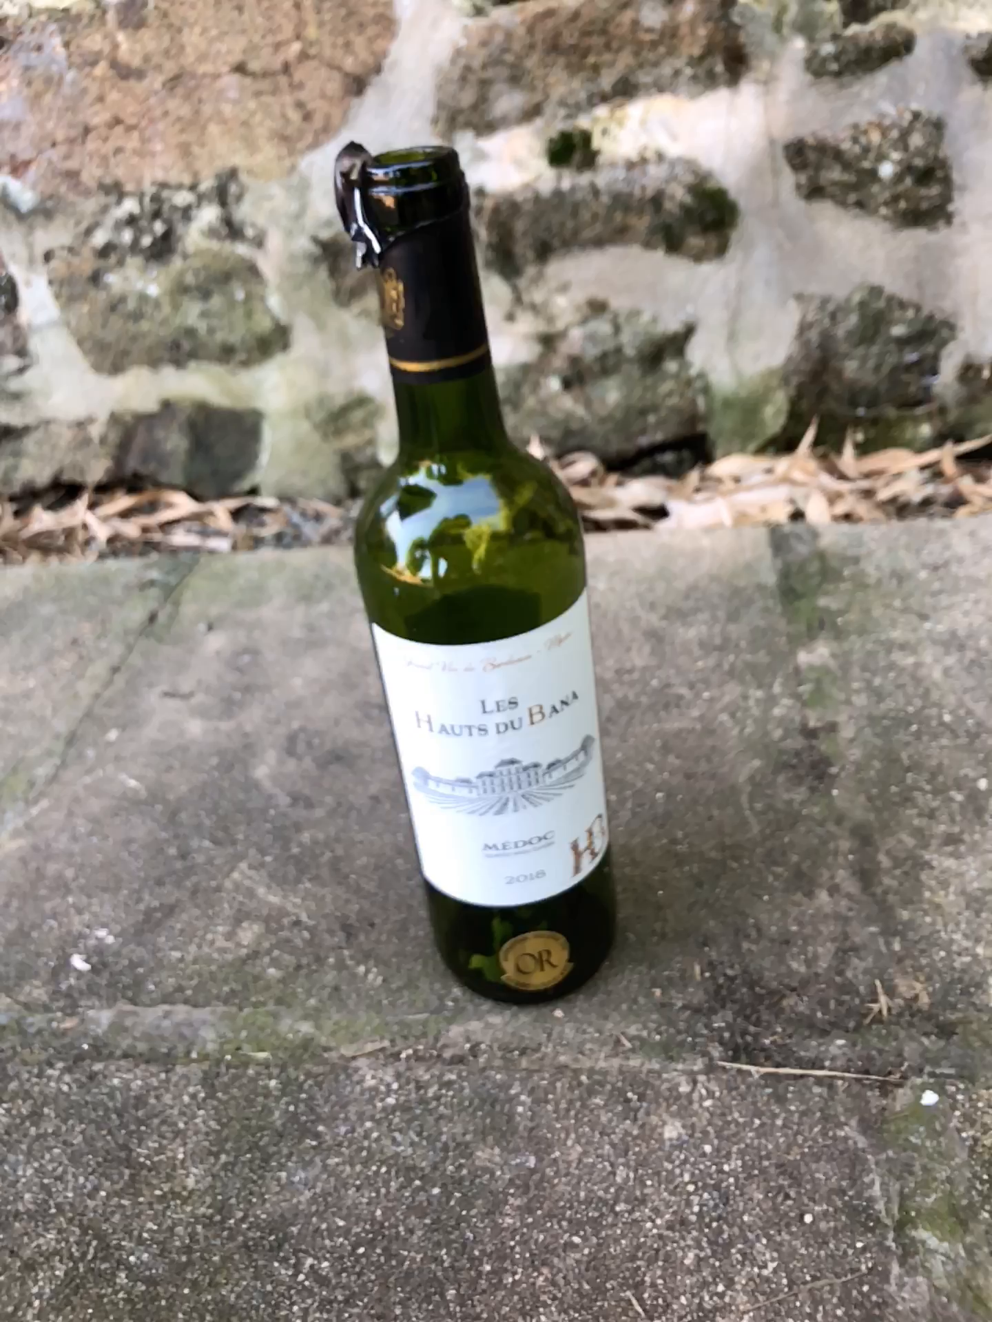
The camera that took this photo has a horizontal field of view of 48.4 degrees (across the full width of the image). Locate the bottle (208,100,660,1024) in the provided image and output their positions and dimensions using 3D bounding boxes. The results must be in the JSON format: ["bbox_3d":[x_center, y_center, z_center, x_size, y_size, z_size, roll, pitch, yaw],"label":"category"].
[{"bbox_3d":[-0.007,-0.014,0.364,0.090,0.288,0.080,-10,34,-2],"label":"bottle"}]
